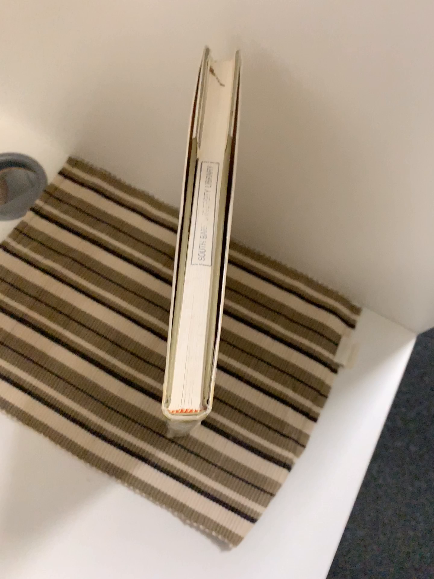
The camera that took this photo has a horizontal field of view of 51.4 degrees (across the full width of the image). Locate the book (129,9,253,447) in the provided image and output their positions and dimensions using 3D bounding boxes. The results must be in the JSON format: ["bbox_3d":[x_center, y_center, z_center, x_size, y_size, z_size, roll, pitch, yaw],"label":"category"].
[{"bbox_3d":[-0.017,-0.005,0.371,0.040,0.289,0.251,6,70,-2],"label":"book"}]
